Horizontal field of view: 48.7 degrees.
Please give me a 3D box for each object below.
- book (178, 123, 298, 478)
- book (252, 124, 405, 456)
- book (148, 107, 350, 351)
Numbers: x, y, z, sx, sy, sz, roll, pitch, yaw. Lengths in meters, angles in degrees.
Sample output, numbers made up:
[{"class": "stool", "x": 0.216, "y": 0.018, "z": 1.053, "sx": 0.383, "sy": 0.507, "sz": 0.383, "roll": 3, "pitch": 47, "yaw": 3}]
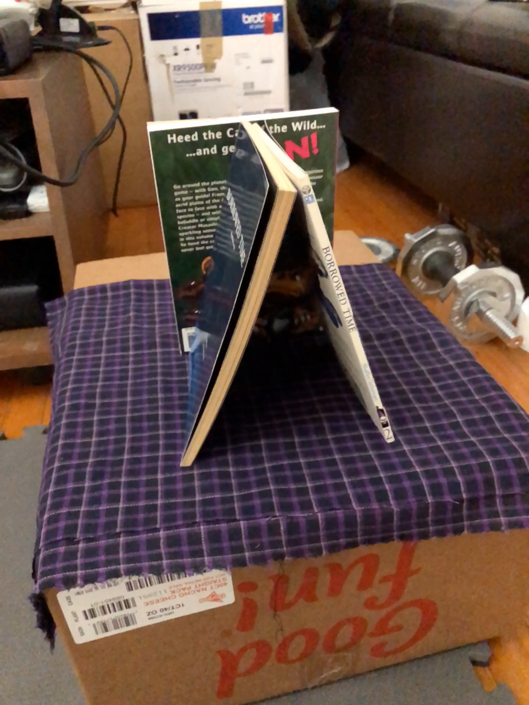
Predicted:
[{"class": "book", "x": -0.029, "y": -0.039, "z": 0.403, "sx": 0.010, "sy": 0.199, "sz": 0.151, "roll": 12, "pitch": 31, "yaw": -16}, {"class": "book", "x": 0.043, "y": -0.044, "z": 0.402, "sx": 0.010, "sy": 0.199, "sz": 0.141, "roll": -23, "pitch": 33, "yaw": 2}, {"class": "book", "x": -0.010, "y": -0.091, "z": 0.469, "sx": 0.140, "sy": 0.189, "sz": 0.020, "roll": -8, "pitch": 40, "yaw": -9}]
